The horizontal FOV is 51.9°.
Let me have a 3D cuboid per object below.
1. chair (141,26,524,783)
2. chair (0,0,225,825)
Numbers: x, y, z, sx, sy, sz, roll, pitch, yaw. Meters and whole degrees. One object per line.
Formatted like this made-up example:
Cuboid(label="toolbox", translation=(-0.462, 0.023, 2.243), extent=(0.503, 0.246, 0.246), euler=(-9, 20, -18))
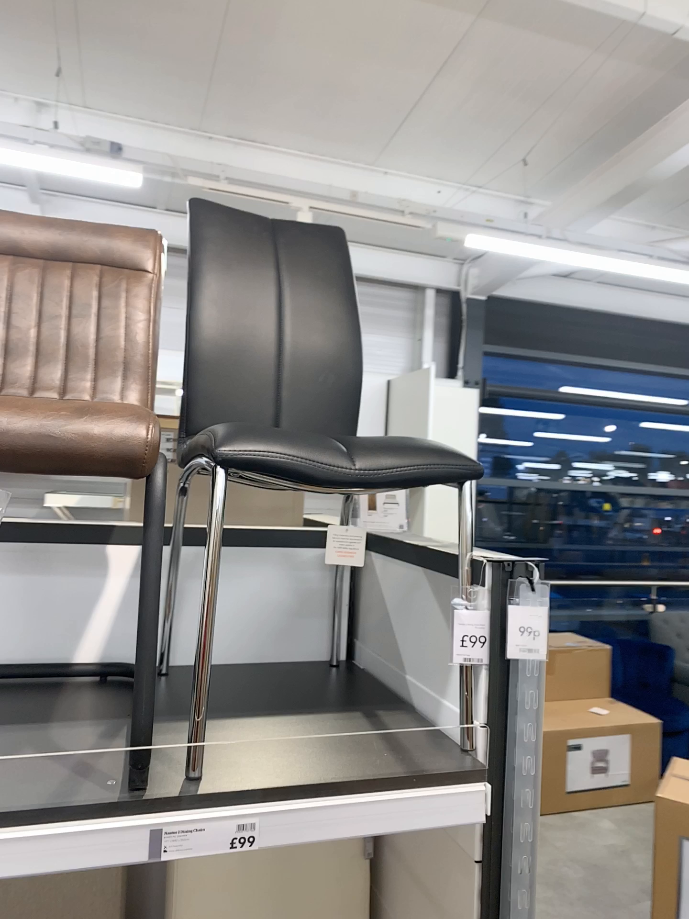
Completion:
Cuboid(label="chair", translation=(-0.066, -0.068, 1.277), extent=(0.474, 0.995, 0.583), euler=(4, -3, -20))
Cuboid(label="chair", translation=(-0.525, -0.061, 1.076), extent=(0.554, 0.885, 0.583), euler=(4, -3, -16))
